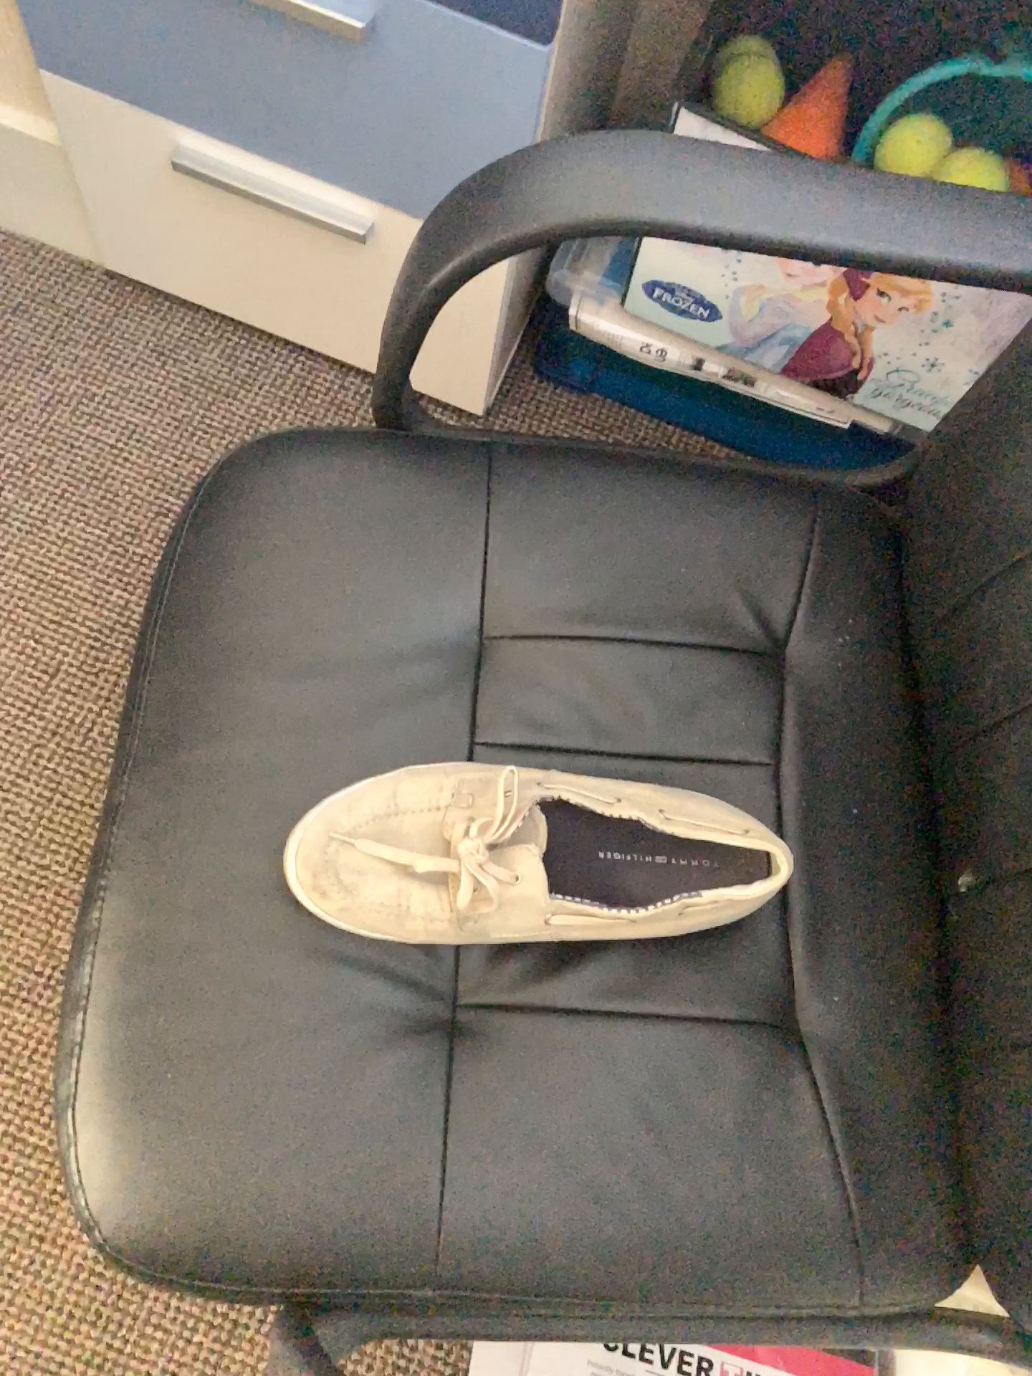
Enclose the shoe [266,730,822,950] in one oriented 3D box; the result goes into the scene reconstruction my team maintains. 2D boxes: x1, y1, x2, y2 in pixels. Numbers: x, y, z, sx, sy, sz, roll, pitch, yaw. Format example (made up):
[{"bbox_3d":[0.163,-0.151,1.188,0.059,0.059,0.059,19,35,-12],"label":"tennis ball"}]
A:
[{"bbox_3d":[0.013,0.083,0.555,0.270,0.070,0.100,1,70,-7],"label":"shoe"}]
